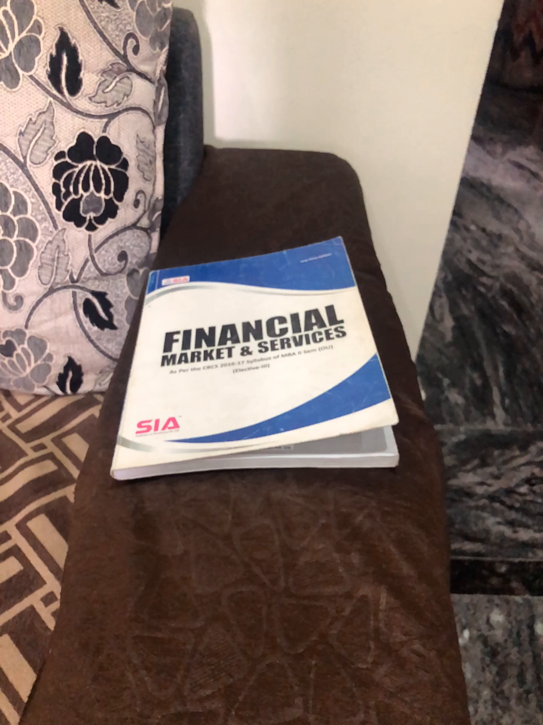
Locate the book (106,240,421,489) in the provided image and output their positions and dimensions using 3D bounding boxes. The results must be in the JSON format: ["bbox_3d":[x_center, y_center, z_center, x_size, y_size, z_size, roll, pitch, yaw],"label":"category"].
[{"bbox_3d":[-0.017,-0.022,0.551,0.220,0.040,0.301,-2,38,-5],"label":"book"}]
